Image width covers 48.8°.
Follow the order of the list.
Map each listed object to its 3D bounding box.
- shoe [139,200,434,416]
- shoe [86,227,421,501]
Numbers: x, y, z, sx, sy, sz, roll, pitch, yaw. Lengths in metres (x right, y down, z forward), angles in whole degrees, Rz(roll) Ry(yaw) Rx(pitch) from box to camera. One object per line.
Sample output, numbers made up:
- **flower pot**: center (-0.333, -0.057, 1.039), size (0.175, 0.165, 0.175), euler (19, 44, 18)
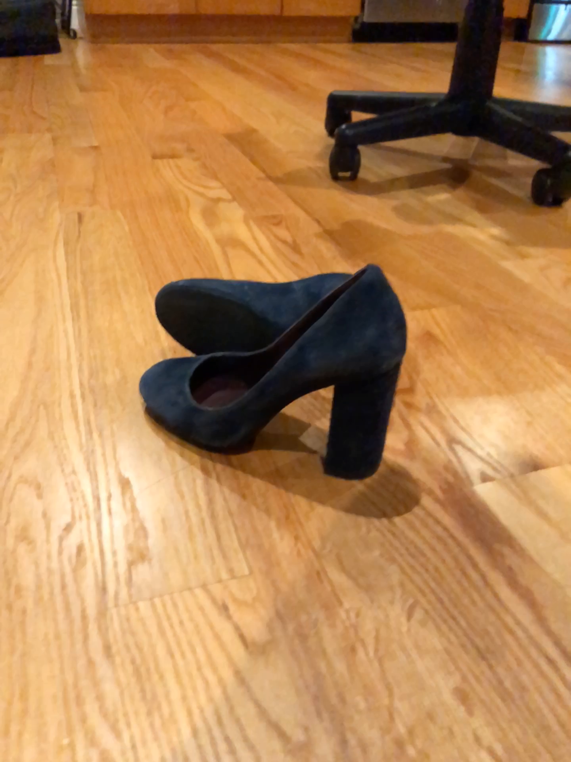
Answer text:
- **shoe**: center (0.007, -0.070, 0.535), size (0.205, 0.089, 0.140), euler (11, 42, 14)
- **shoe**: center (-0.019, -0.017, 0.437), size (0.195, 0.128, 0.090), euler (11, 35, 13)
